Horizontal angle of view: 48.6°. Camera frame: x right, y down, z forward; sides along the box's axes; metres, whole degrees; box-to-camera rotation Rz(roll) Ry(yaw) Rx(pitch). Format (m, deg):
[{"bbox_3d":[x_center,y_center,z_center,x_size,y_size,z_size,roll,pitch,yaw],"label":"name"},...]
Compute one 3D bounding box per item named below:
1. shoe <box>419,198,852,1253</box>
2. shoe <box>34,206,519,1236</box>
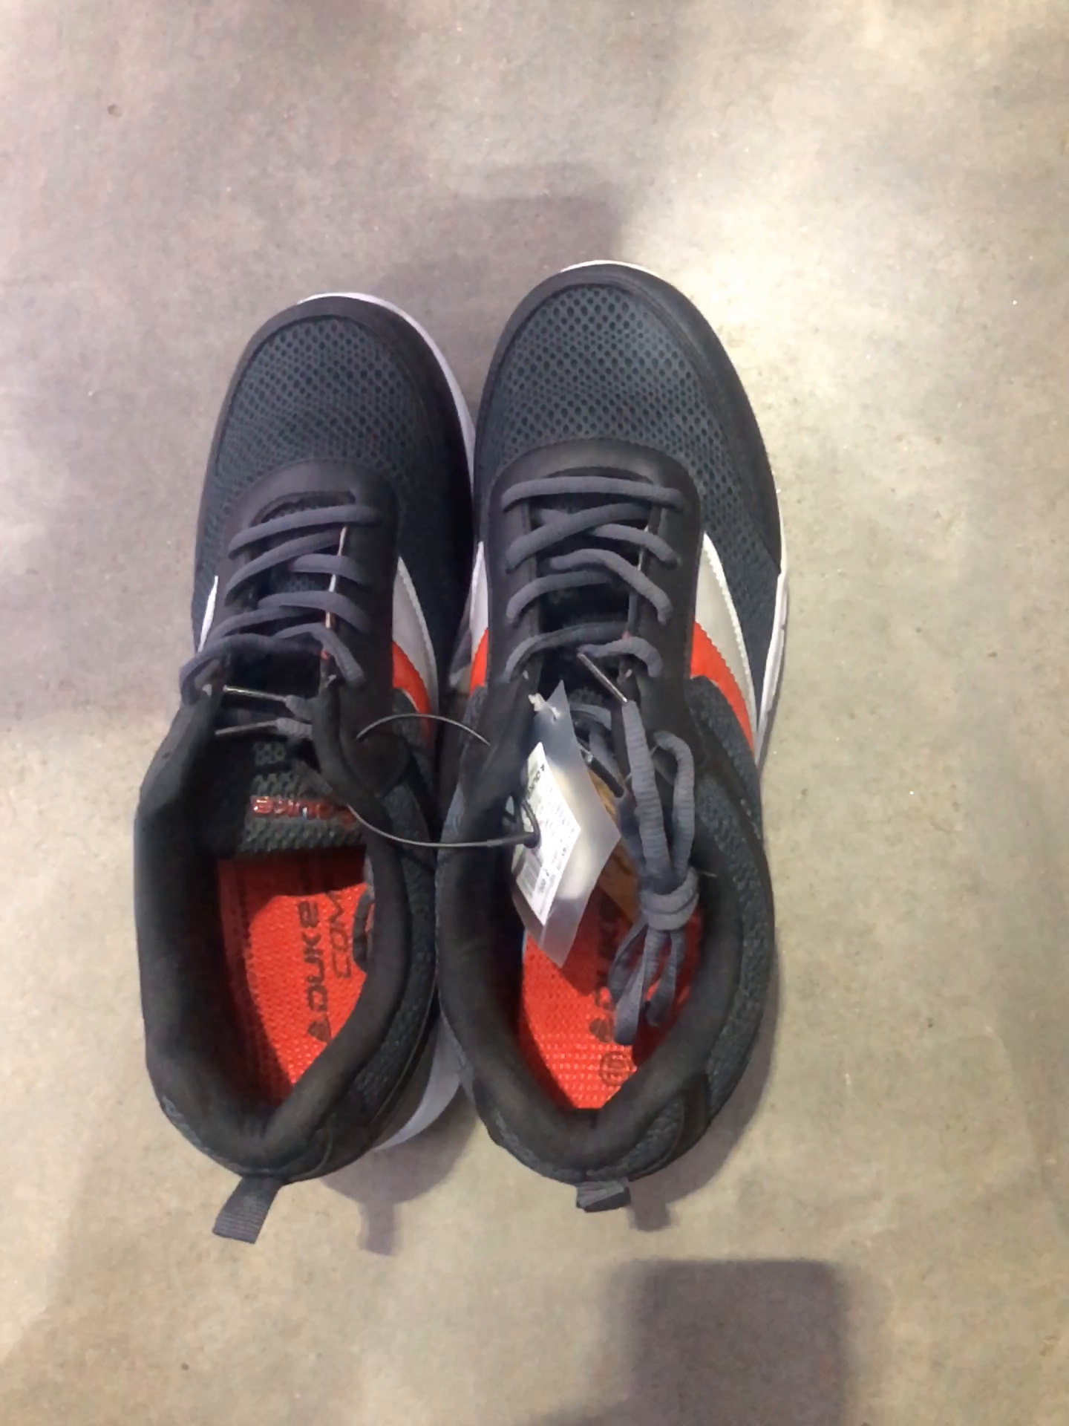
[{"bbox_3d":[0.033,0.002,0.361,0.110,0.100,0.270,0,86,9],"label":"shoe"},{"bbox_3d":[-0.074,0.004,0.367,0.110,0.100,0.270,-4,85,9],"label":"shoe"}]
